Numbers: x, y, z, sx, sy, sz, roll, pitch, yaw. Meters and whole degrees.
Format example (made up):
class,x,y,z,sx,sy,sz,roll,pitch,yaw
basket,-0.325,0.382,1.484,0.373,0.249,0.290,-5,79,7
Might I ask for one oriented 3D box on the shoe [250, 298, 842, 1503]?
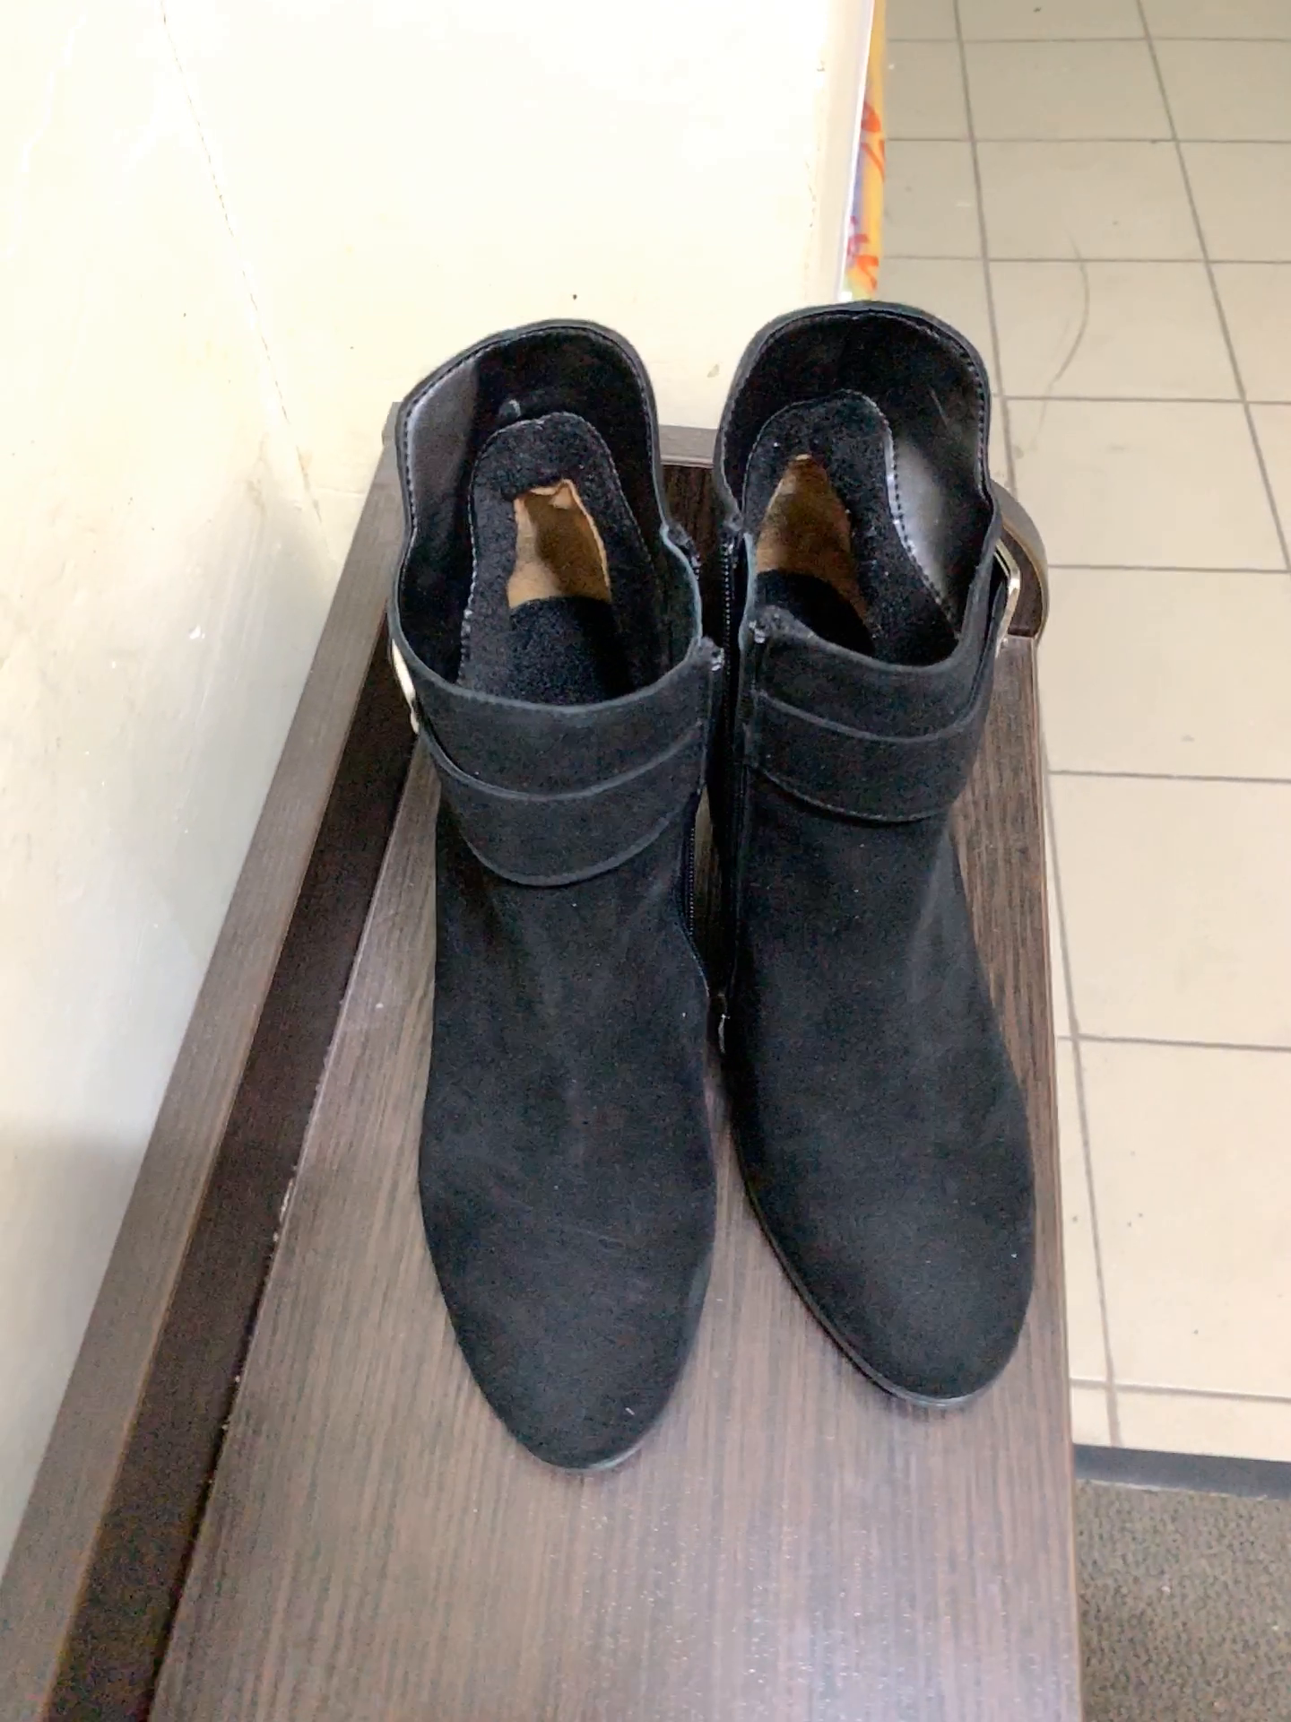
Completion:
class,x,y,z,sx,sy,sz,roll,pitch,yaw
shoe,-0.024,0.015,0.343,0.088,0.190,0.241,-5,56,-2

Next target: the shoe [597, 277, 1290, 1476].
class,x,y,z,sx,sy,sz,roll,pitch,yaw
shoe,0.063,0.008,0.351,0.088,0.190,0.241,-13,57,-7
